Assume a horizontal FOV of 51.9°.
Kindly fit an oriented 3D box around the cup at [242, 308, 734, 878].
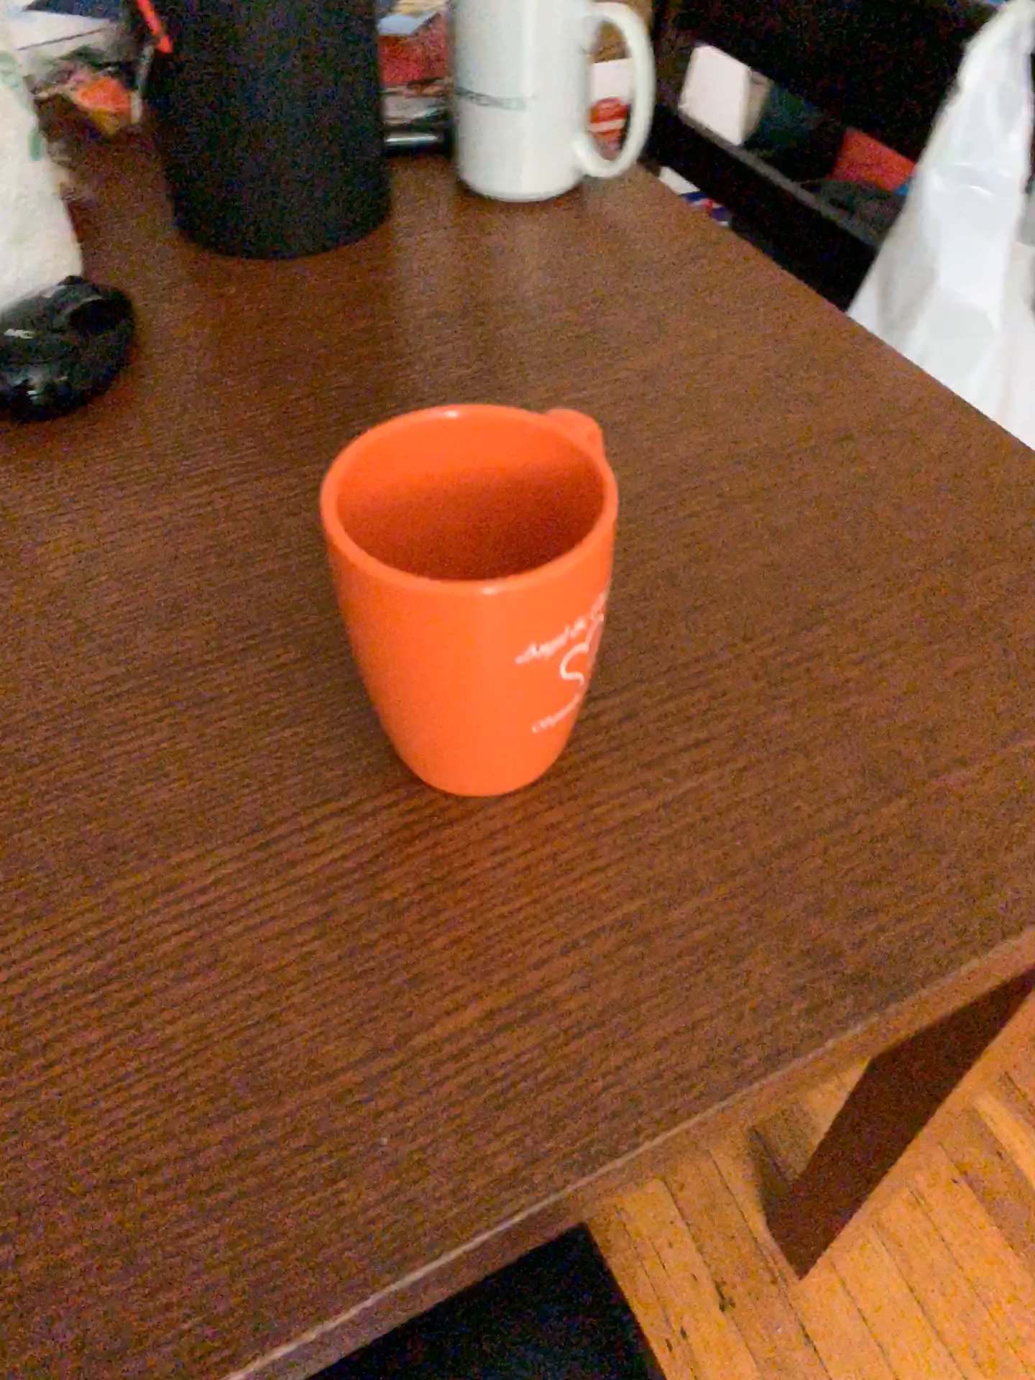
[{"bbox_3d":[-0.003,-0.036,0.354,0.100,0.110,0.130,18,51,15],"label":"cup"}]
